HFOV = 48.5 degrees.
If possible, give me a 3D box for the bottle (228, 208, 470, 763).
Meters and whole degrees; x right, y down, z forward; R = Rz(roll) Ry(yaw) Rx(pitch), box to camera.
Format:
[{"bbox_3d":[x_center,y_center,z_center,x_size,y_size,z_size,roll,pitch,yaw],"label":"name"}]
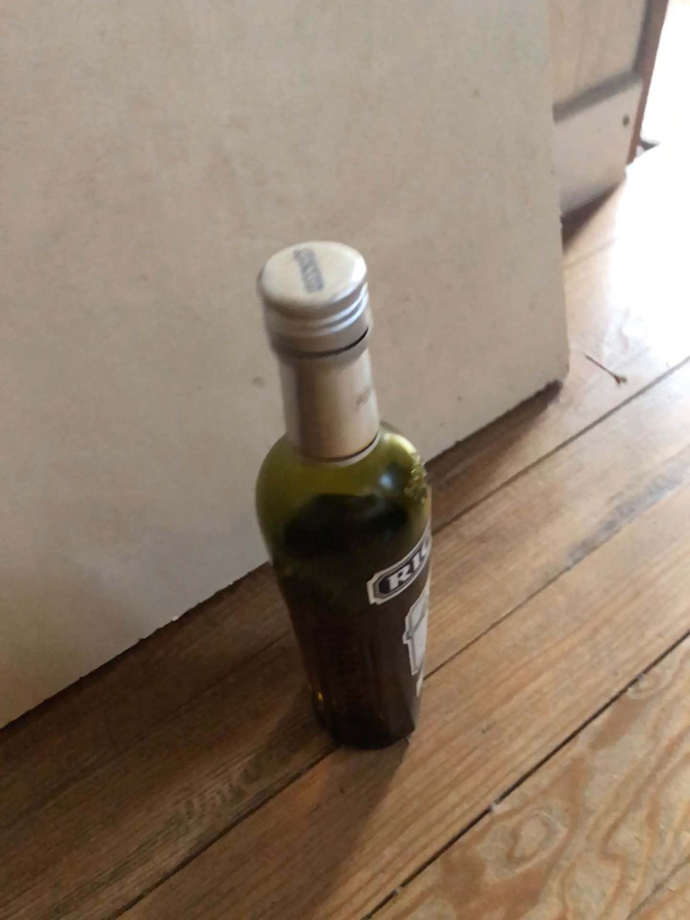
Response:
[{"bbox_3d":[0.012,0.035,0.308,0.060,0.258,0.070,2,48,7],"label":"bottle"}]
